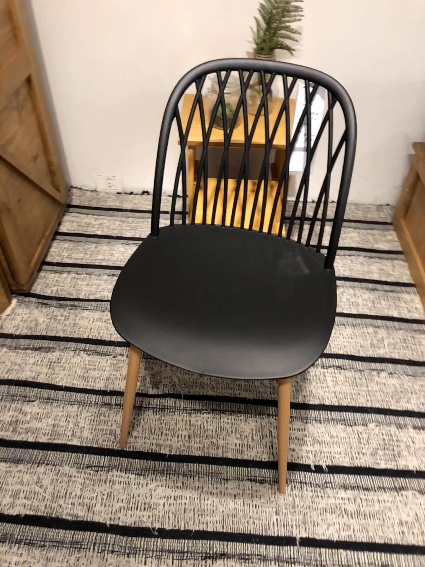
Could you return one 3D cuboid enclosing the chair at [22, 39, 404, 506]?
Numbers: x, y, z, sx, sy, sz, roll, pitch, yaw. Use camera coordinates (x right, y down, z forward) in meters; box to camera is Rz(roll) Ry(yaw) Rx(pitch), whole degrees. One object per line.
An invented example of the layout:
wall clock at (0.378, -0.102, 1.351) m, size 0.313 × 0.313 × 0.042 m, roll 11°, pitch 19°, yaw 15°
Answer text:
chair at (0.044, -0.005, 1.013) m, size 0.470 × 0.774 × 0.544 m, roll 11°, pitch 44°, yaw 10°
